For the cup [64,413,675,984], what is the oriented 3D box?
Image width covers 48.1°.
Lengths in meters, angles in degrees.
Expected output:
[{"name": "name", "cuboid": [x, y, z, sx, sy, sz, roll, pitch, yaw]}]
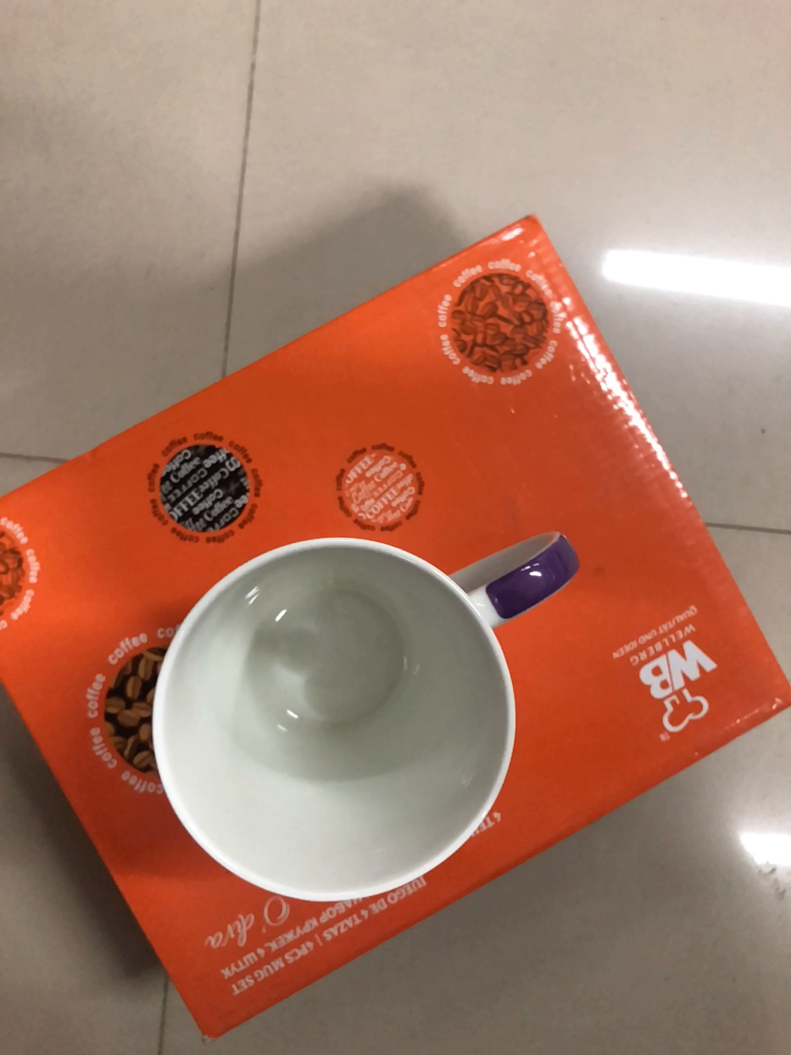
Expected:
[{"name": "cup", "cuboid": [-0.008, 0.037, 0.247, 0.110, 0.100, 0.080, -33, 93, -3]}]
